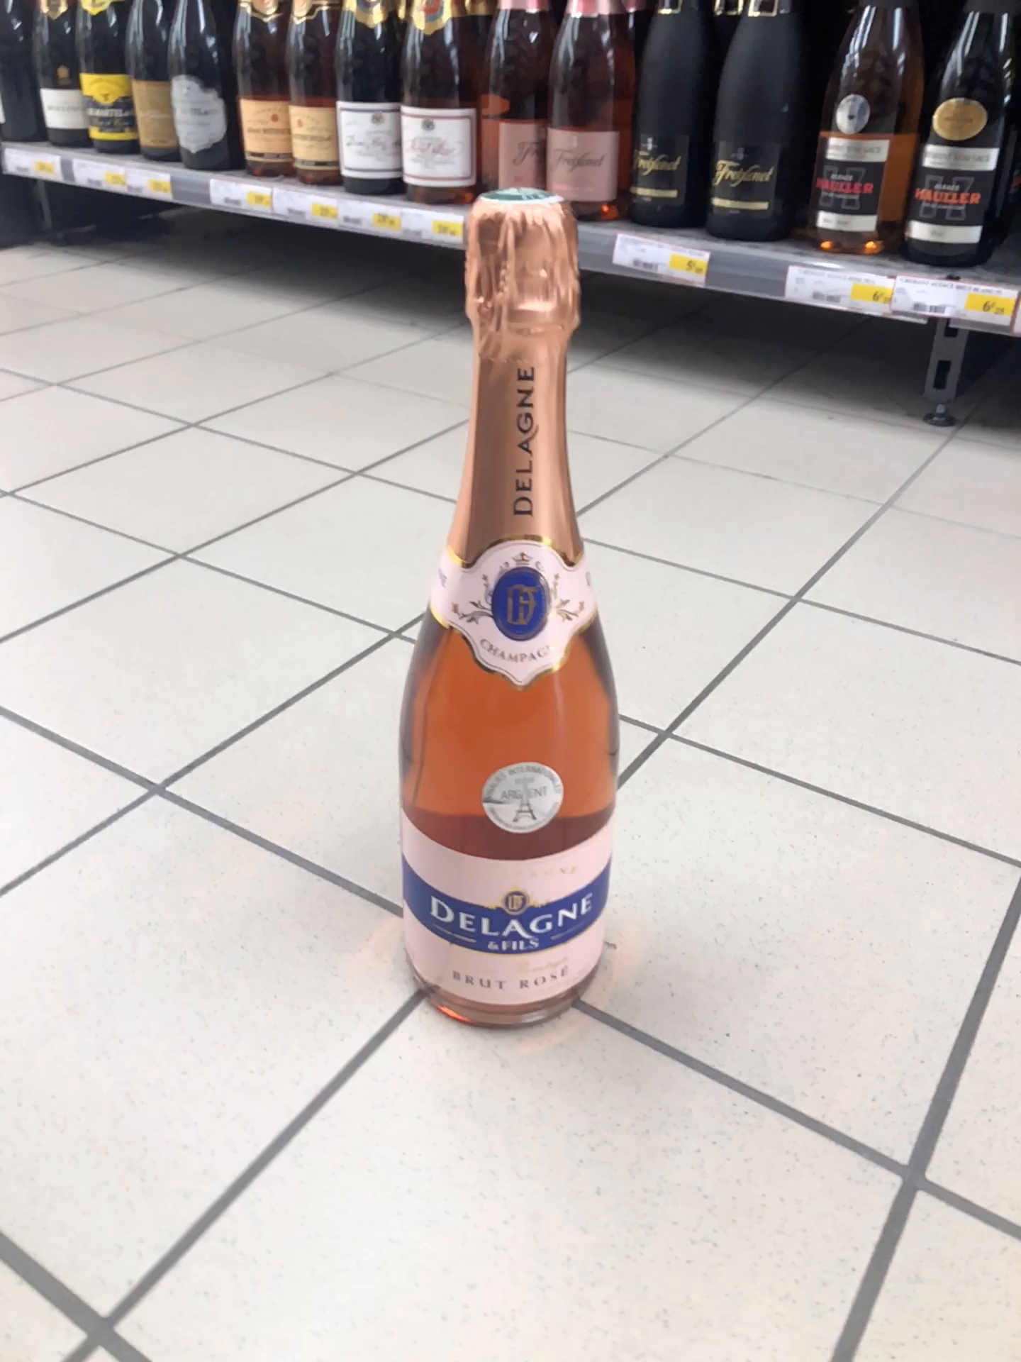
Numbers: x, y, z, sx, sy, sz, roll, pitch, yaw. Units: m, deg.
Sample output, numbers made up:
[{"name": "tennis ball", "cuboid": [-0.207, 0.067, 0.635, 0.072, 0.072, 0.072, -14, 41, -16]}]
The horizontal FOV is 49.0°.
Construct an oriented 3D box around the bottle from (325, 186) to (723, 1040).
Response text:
[{"name": "bottle", "cuboid": [0.001, -0.010, 0.395, 0.100, 0.288, 0.091, 1, 31, -1]}]
